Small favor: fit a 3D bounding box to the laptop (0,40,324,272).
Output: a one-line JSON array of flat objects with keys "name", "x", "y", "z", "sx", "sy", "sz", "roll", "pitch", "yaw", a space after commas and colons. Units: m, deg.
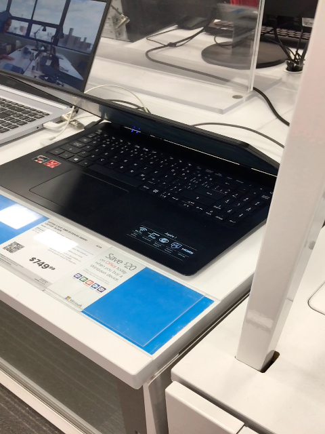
[{"name": "laptop", "x": -0.042, "y": -0.106, "z": 0.567, "sx": 0.366, "sy": 0.156, "sz": 0.242, "roll": 27, "pitch": 48, "yaw": 30}]
